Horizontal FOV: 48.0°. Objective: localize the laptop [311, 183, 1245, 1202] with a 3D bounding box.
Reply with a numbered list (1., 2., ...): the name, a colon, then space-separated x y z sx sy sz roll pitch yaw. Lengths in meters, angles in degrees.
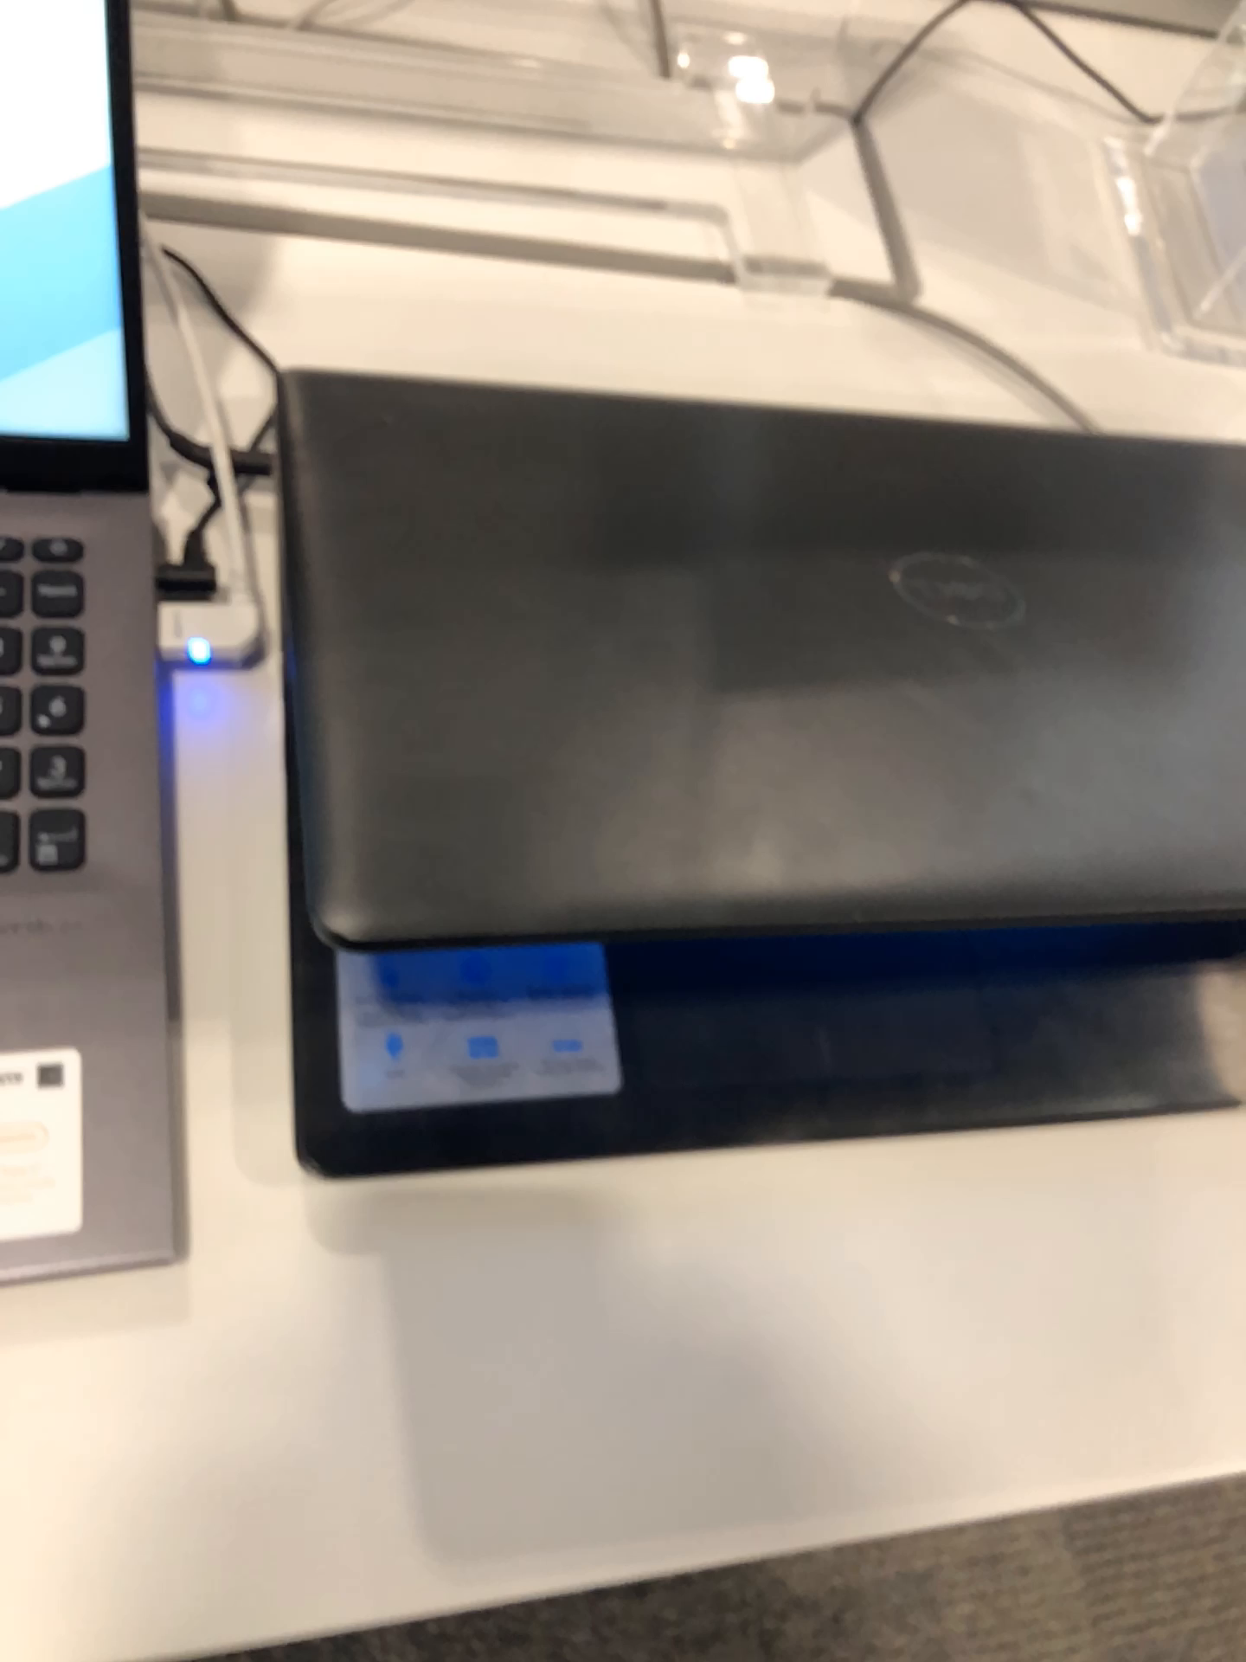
1. laptop: 0.102 -0.044 0.400 0.365 0.080 0.245 0 63 -18
